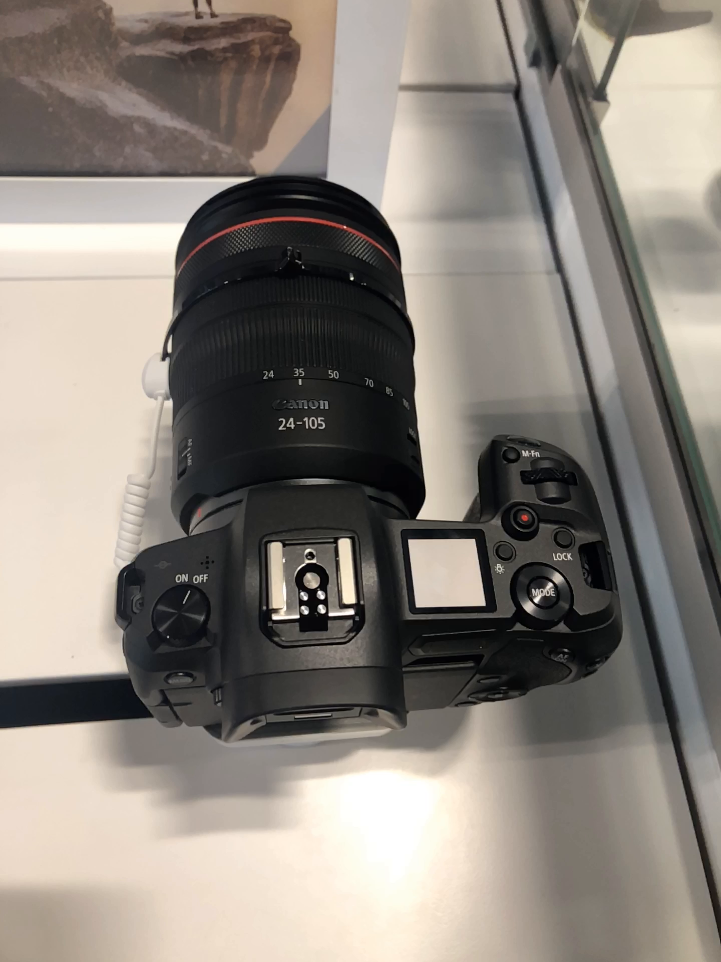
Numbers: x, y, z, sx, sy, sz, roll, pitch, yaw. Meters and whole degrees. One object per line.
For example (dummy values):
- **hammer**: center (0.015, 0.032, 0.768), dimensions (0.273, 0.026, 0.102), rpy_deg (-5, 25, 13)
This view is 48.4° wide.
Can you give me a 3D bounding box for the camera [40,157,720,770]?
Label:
- **camera**: center (-0.004, -0.005, 0.231), dimensions (0.139, 0.086, 0.145), rpy_deg (-4, 64, -7)
